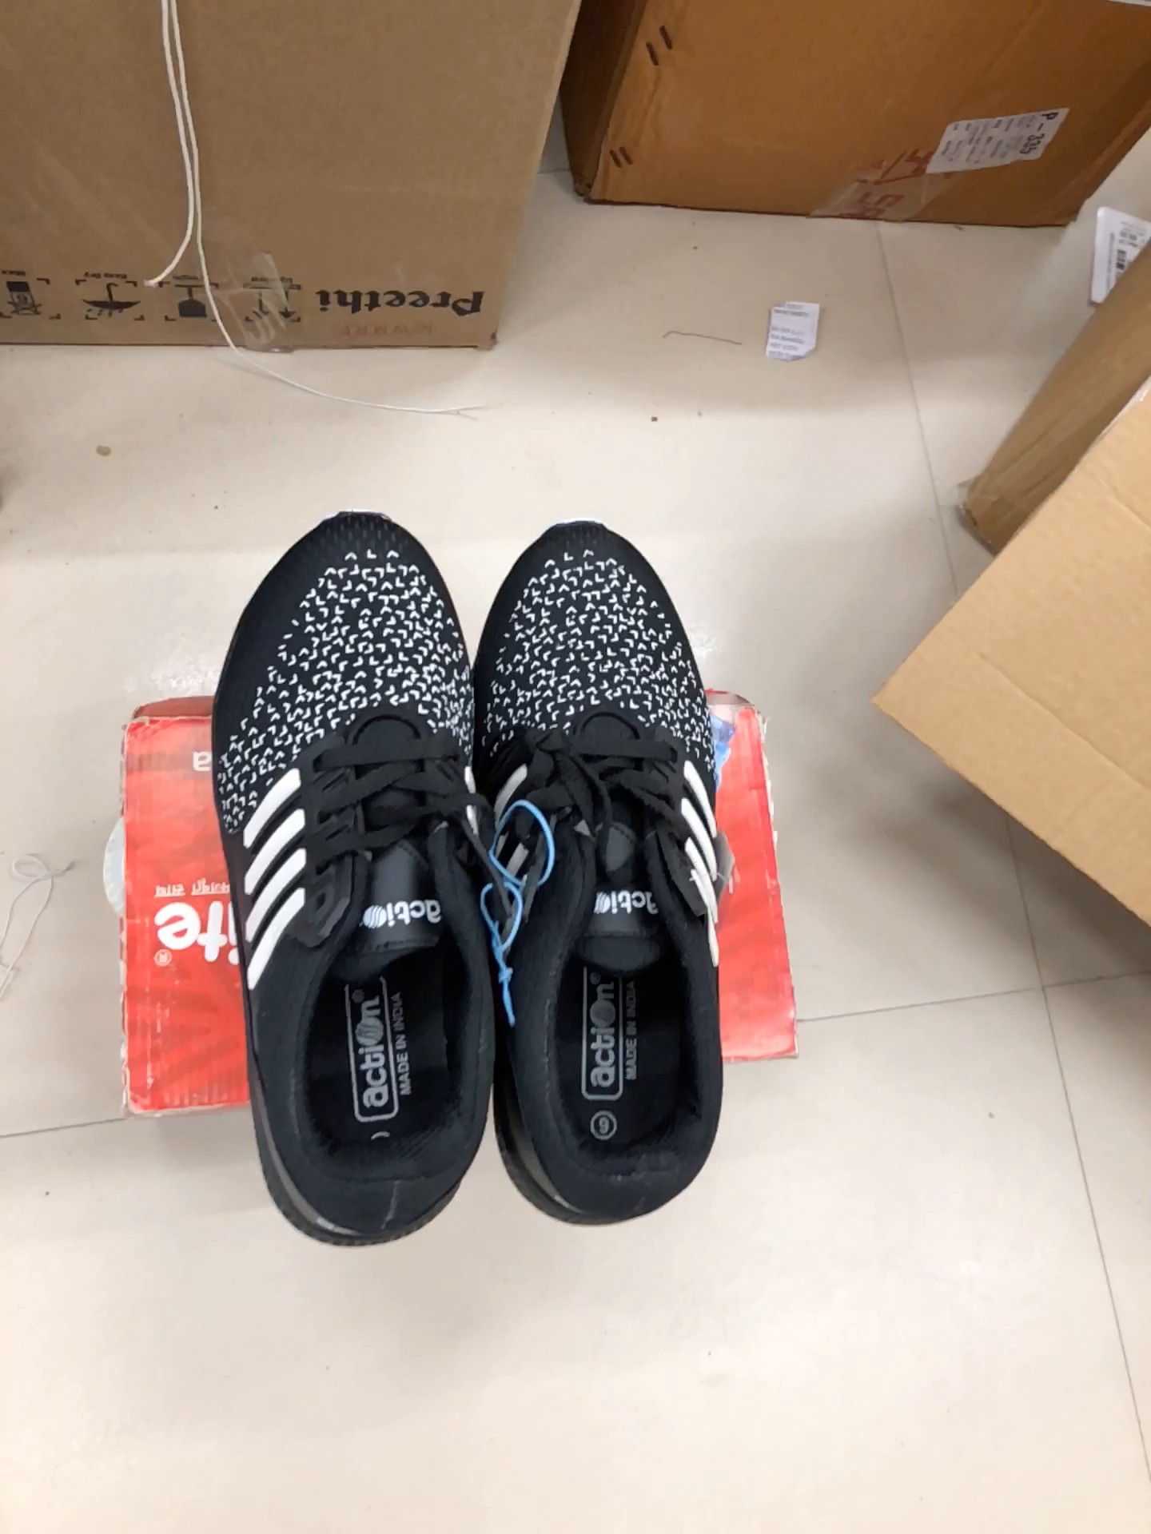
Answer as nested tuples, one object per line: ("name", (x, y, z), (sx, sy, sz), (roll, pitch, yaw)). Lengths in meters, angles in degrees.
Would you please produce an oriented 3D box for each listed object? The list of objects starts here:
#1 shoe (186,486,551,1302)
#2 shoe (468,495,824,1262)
("shoe", (-0.081, 0.043, 0.471), (0.111, 0.103, 0.267), (0, 76, -13))
("shoe", (0.018, 0.041, 0.495), (0.101, 0.103, 0.267), (1, 75, -12))
